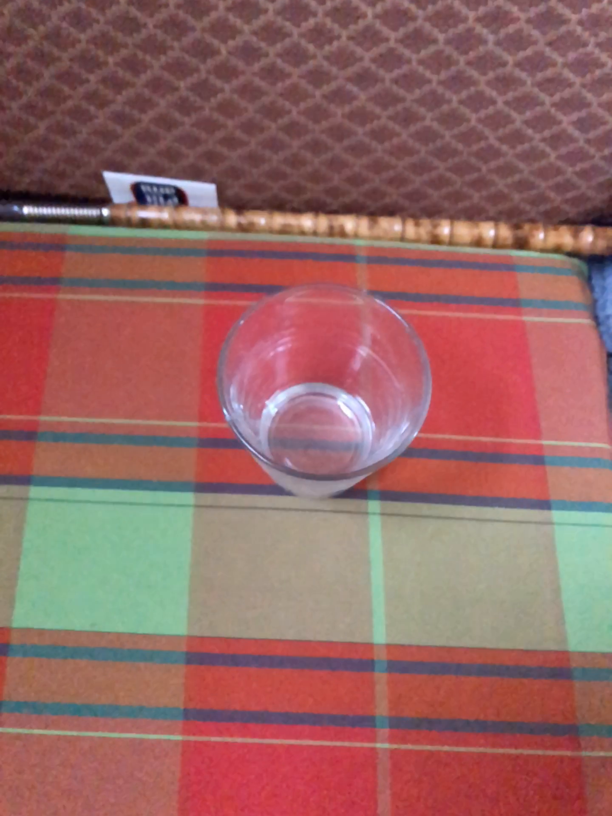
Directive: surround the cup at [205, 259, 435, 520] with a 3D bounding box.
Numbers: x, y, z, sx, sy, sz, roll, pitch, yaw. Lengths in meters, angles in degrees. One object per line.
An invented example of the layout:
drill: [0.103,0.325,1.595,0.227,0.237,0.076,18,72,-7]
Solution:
cup: [0.006,-0.003,0.295,0.080,0.090,0.080,1,69,-1]
